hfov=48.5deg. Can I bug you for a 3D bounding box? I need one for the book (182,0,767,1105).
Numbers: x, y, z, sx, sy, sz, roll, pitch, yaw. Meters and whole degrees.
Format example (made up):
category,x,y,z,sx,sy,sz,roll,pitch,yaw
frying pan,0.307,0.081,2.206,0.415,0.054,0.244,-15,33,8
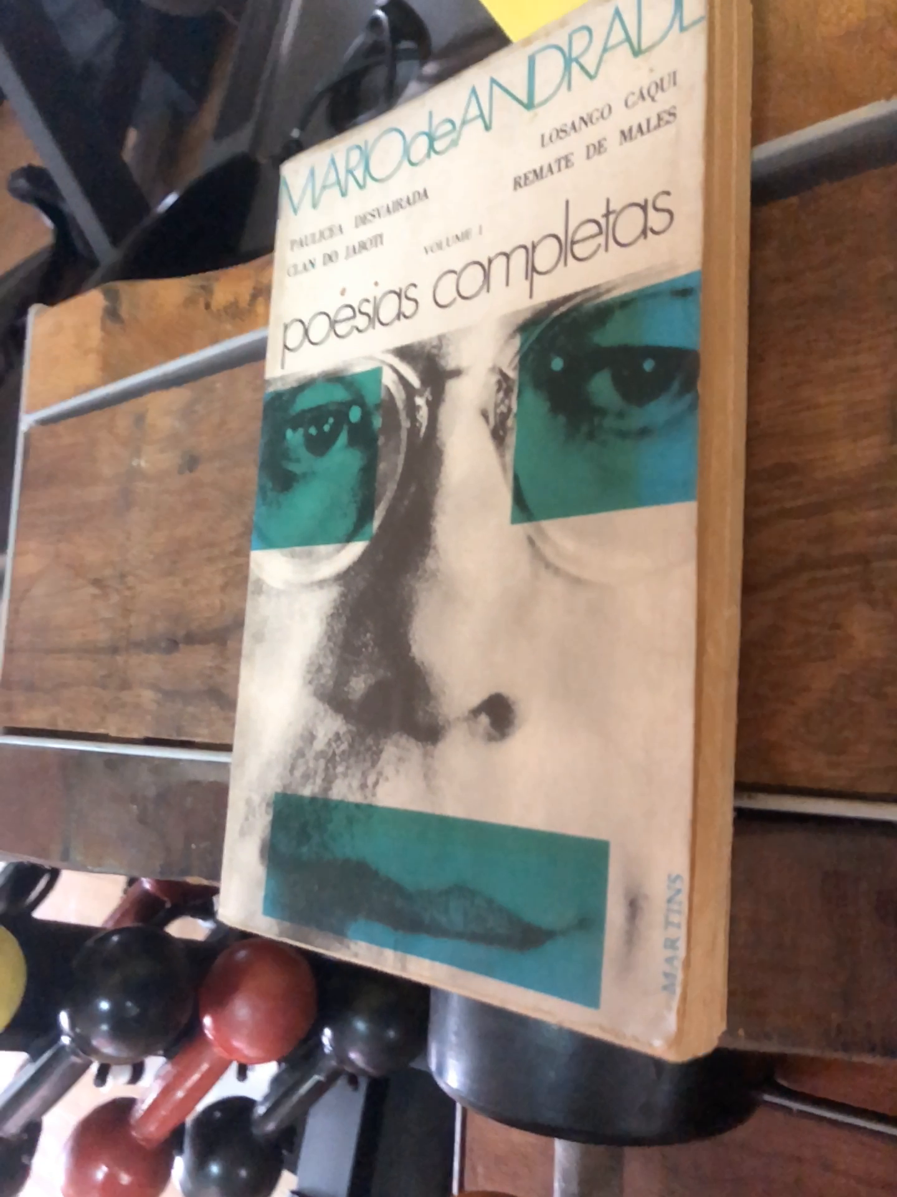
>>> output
category,x,y,z,sx,sy,sz,roll,pitch,yaw
book,-0.003,-0.022,0.221,0.141,0.020,0.209,-2,82,41
